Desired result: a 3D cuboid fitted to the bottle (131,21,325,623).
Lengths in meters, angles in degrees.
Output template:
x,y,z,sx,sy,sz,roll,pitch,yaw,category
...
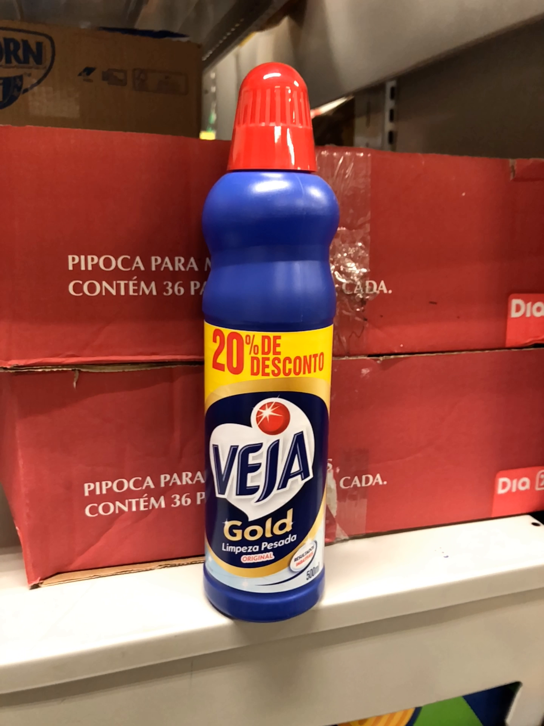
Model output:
x,y,z,sx,sy,sz,roll,pitch,yaw,category
-0.012,-0.011,0.284,0.070,0.249,0.070,-1,14,0,bottle
